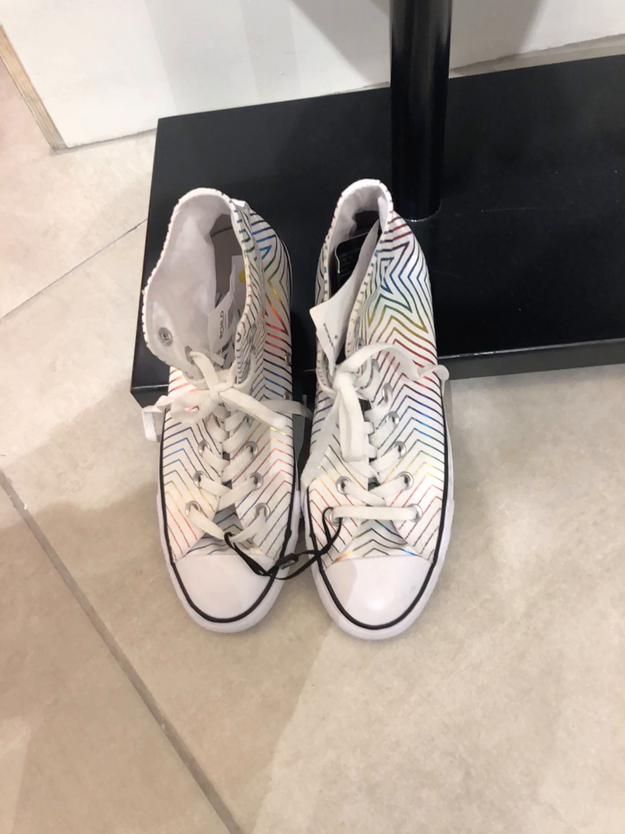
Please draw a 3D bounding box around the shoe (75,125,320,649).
[{"bbox_3d":[-0.066,-0.014,0.463,0.120,0.140,0.300,-3,80,6],"label":"shoe"}]

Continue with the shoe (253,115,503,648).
[{"bbox_3d":[0.037,-0.014,0.442,0.120,0.140,0.301,-3,73,6],"label":"shoe"}]
